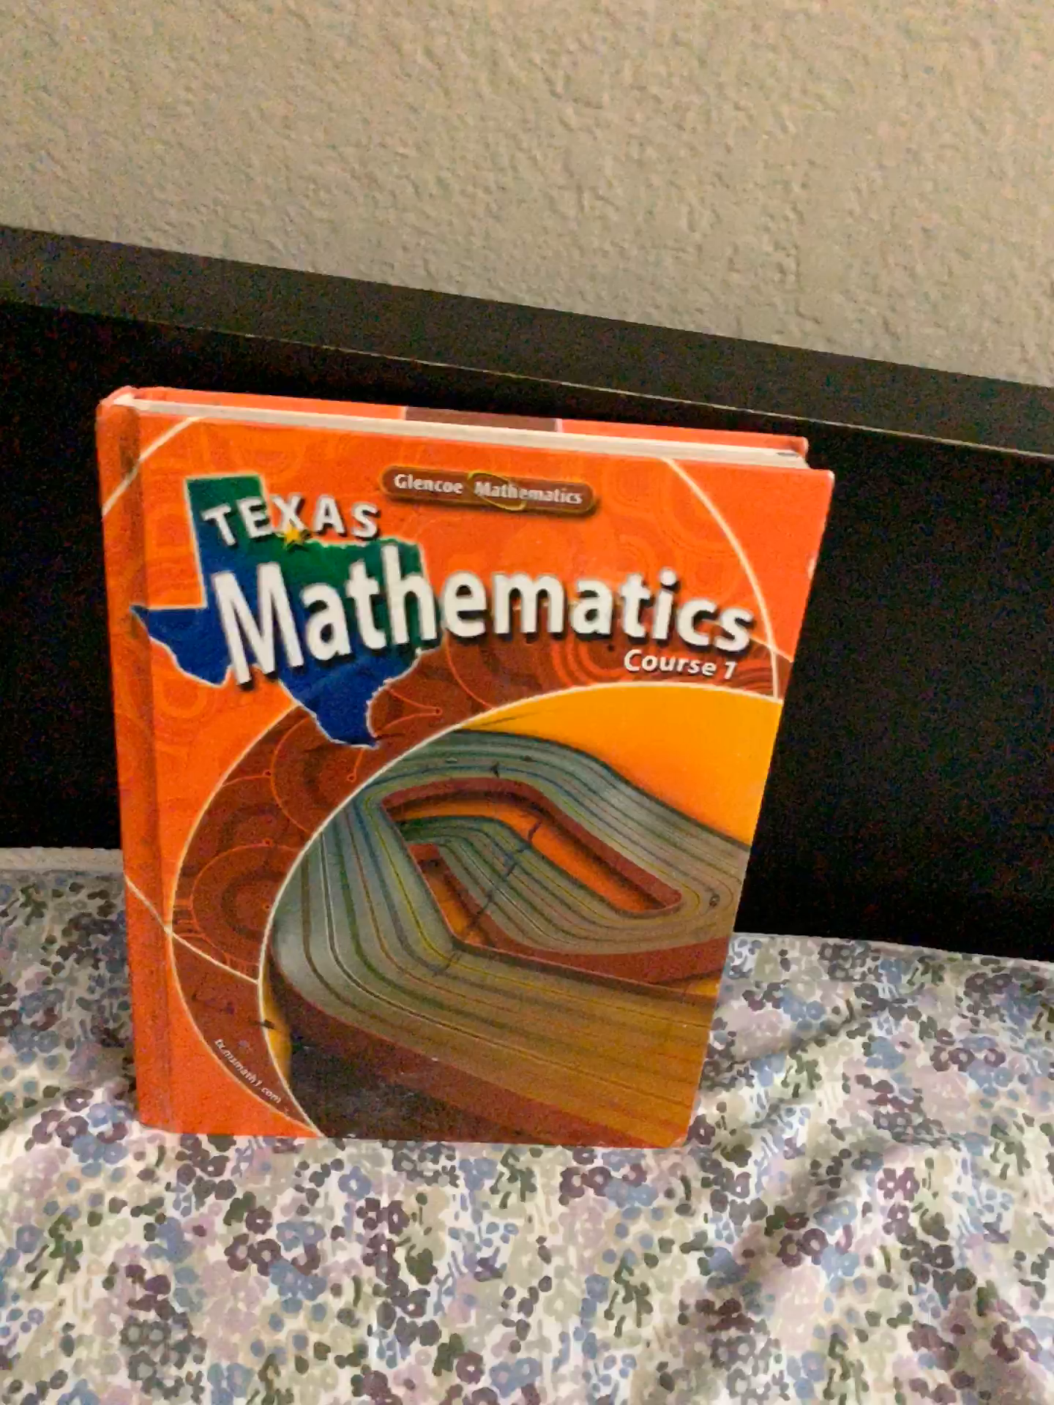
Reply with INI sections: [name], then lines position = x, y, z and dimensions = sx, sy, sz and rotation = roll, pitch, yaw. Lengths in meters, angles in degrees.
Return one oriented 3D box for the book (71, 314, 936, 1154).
[book]
position = -0.021, 0.037, 0.379
dimensions = 0.230, 0.299, 0.050
rotation = 4, 29, -8
